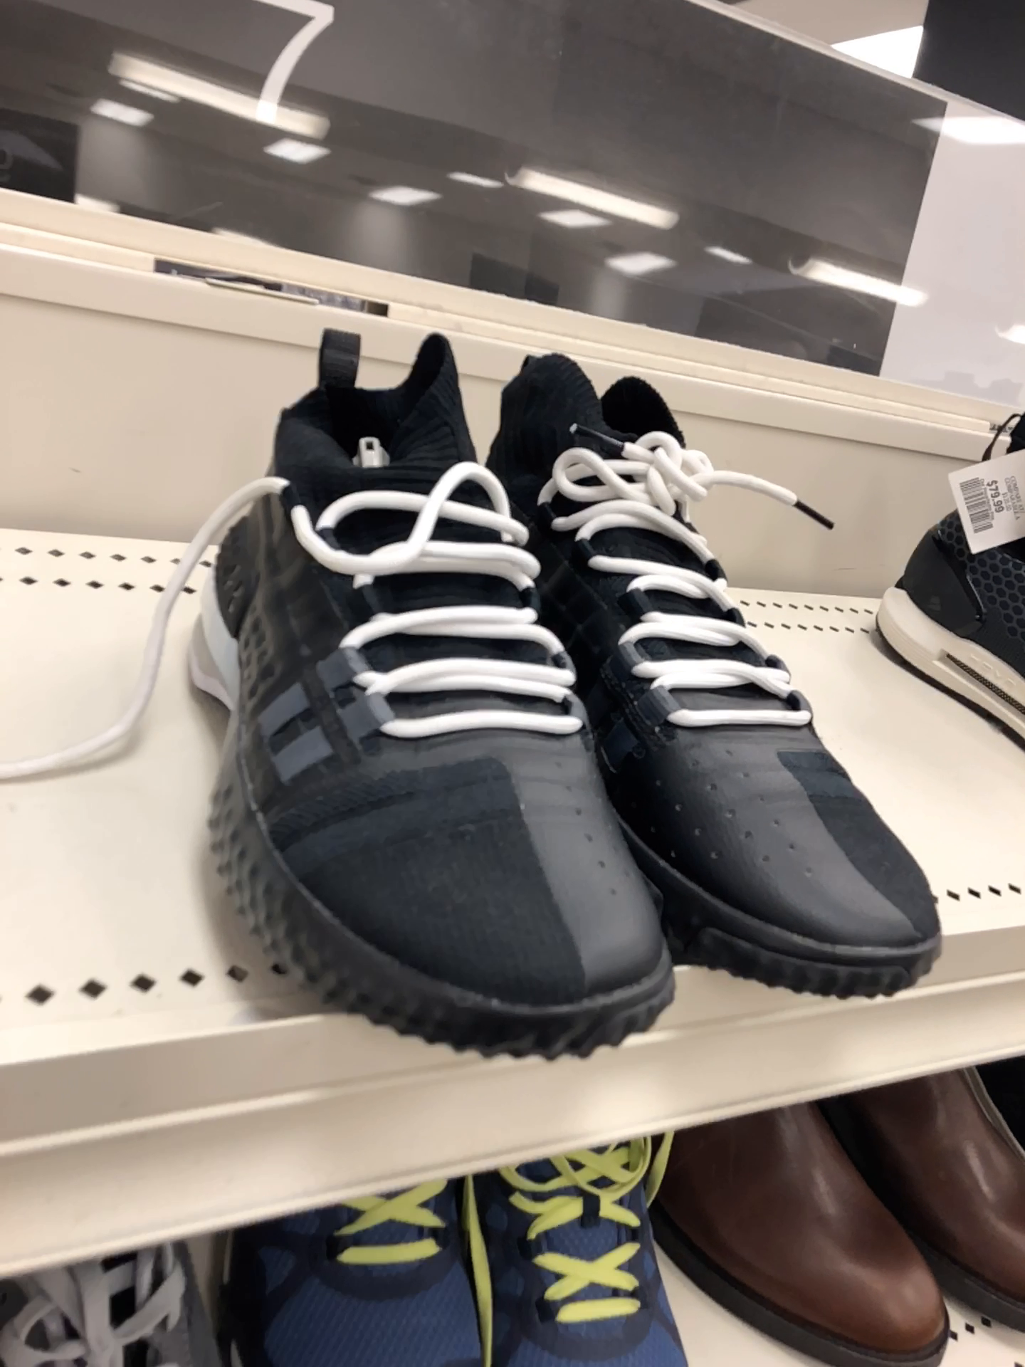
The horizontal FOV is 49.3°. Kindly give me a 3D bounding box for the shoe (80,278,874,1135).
[{"bbox_3d":[-0.060,-0.036,0.394,0.120,0.136,0.352,2,24,-29],"label":"shoe"}]

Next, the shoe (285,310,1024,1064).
[{"bbox_3d":[0.037,-0.036,0.440,0.120,0.136,0.352,1,25,-33],"label":"shoe"}]
